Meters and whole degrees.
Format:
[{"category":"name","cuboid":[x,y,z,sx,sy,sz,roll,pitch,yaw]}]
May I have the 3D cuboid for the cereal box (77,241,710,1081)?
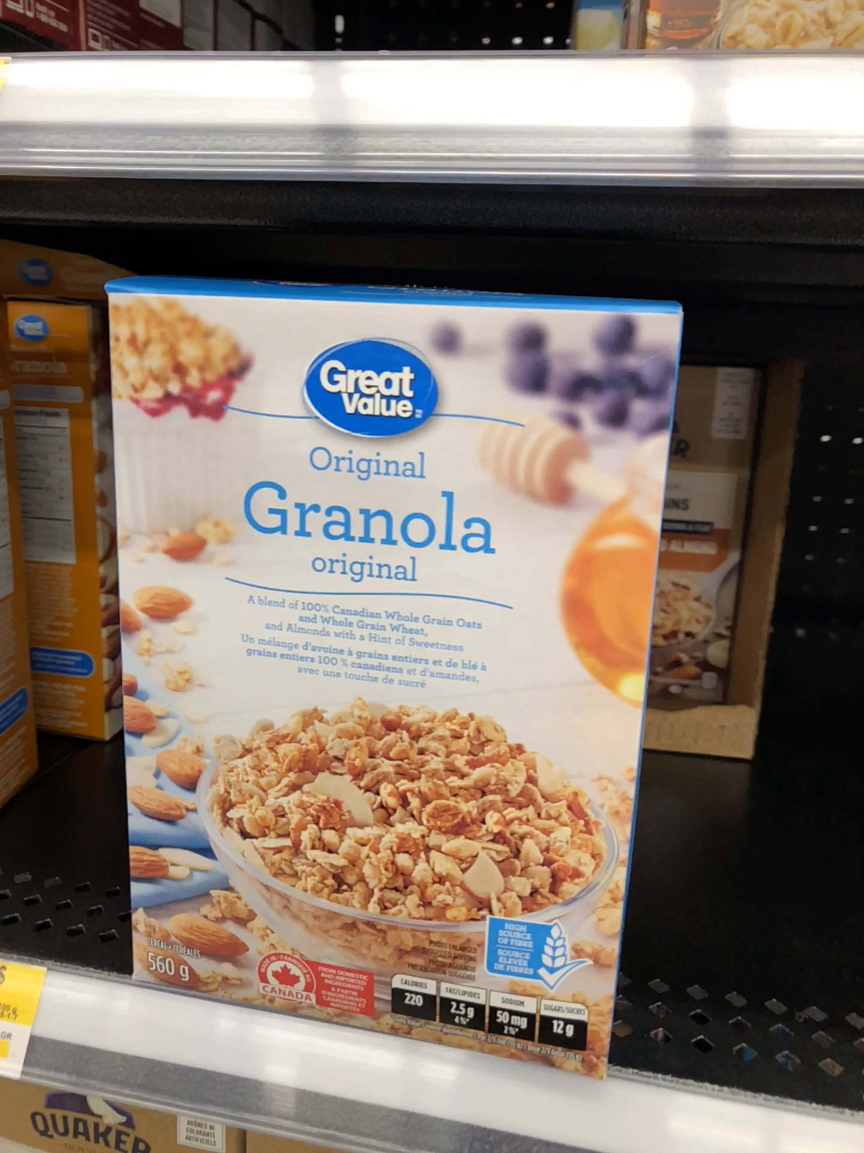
[{"category":"cereal box","cuboid":[-0.012,0.018,0.293,0.160,0.219,0.070,6,14,12]}]
